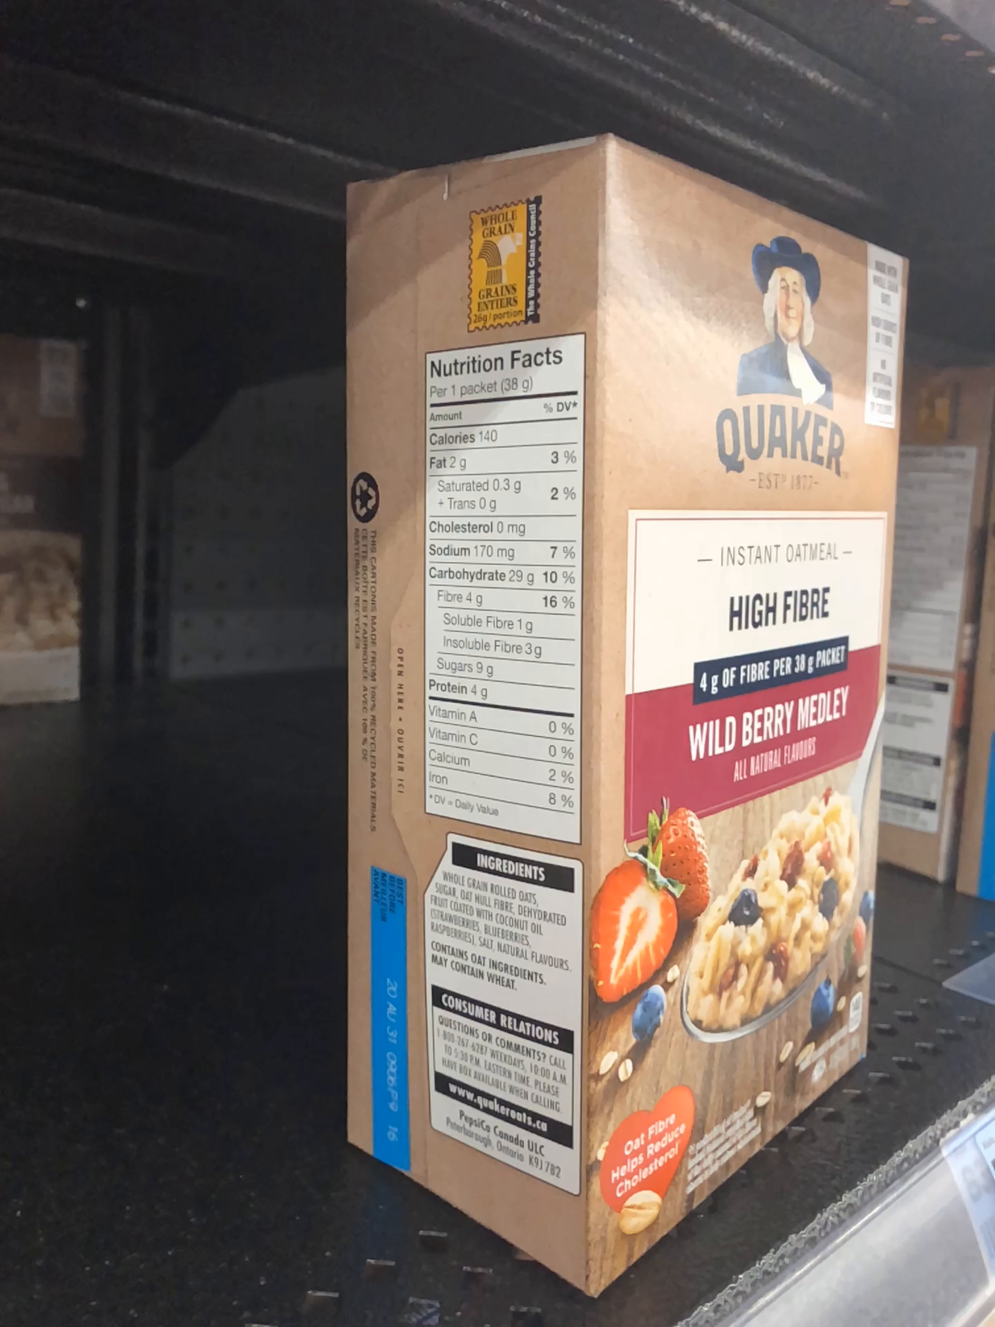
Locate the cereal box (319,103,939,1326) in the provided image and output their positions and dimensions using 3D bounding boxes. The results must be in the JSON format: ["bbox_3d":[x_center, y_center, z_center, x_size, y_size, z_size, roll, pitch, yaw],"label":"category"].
[{"bbox_3d":[0.034,0.008,0.248,0.070,0.200,0.130,6,9,40],"label":"cereal box"}]
